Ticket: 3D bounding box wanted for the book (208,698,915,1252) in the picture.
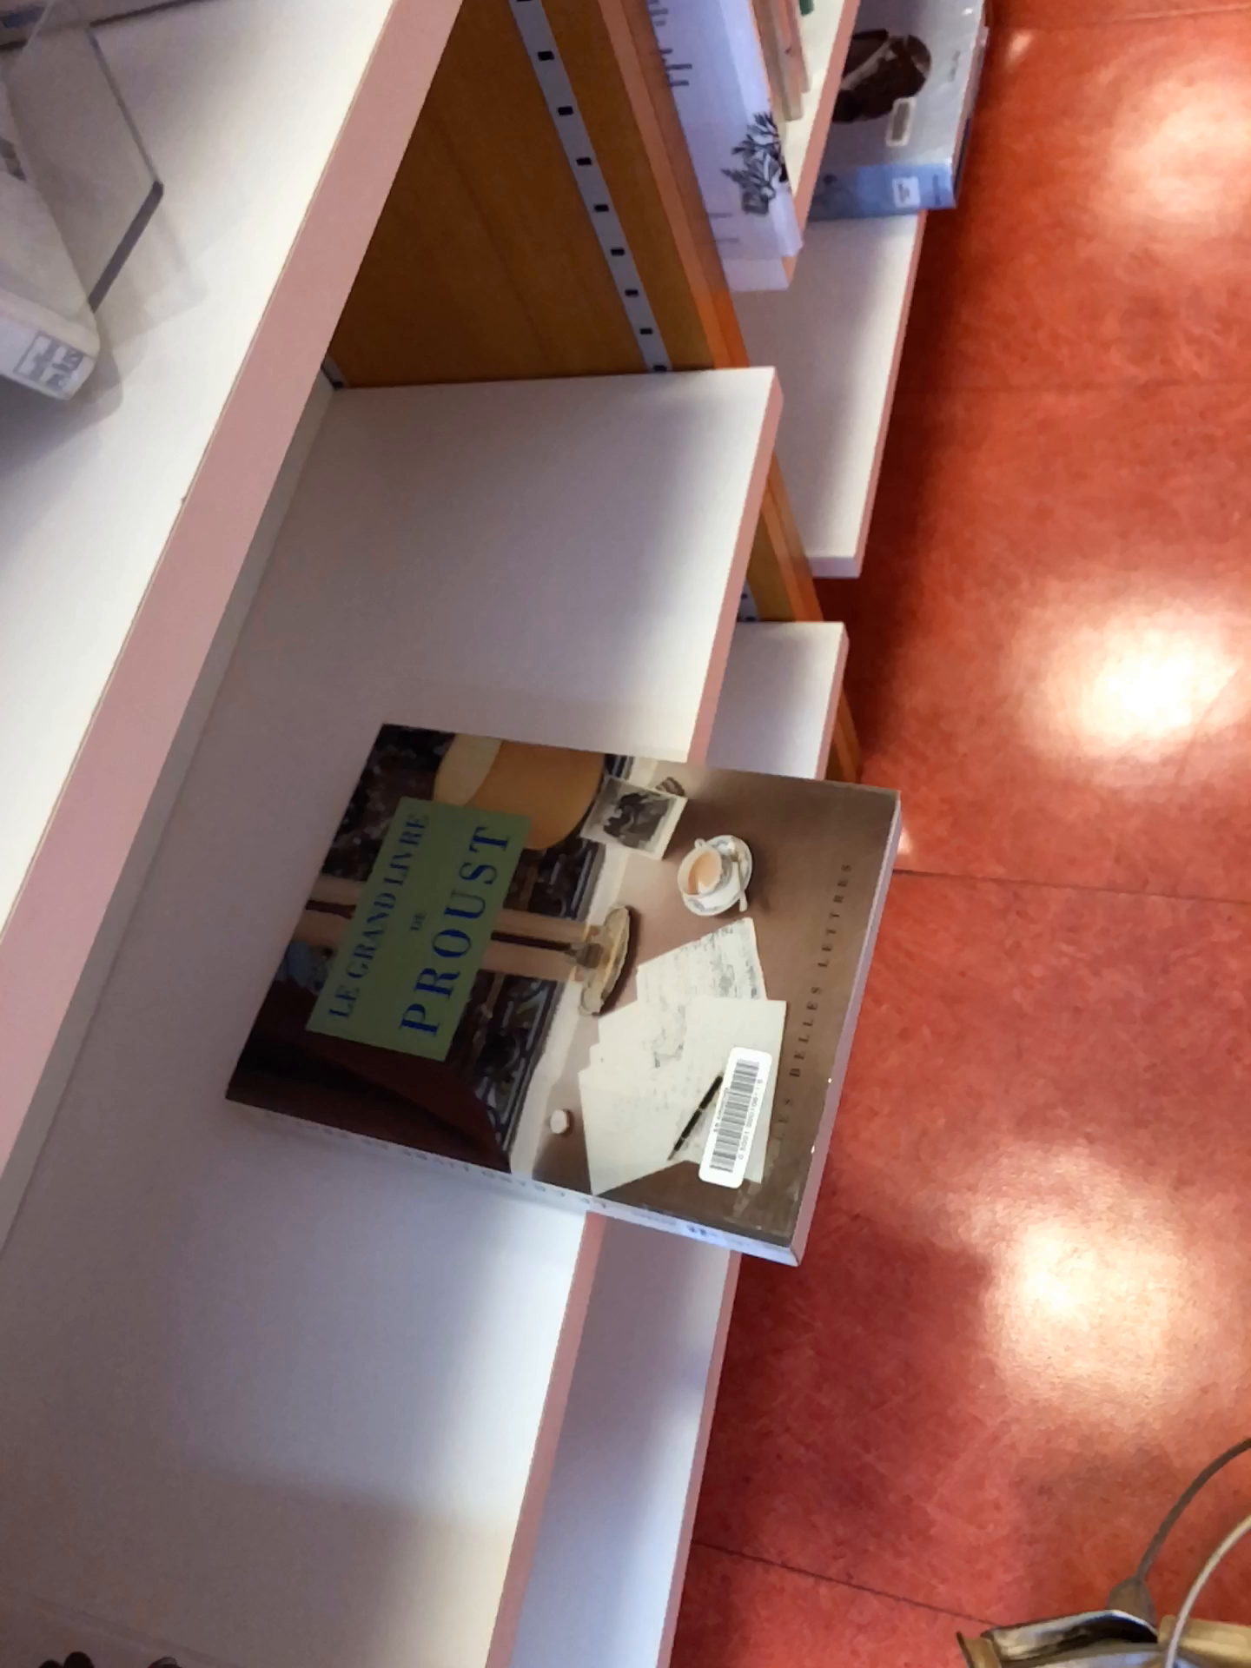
[{"bbox_3d":[-0.025,0.044,0.558,0.245,0.030,0.180,9,67,21],"label":"book"}]
